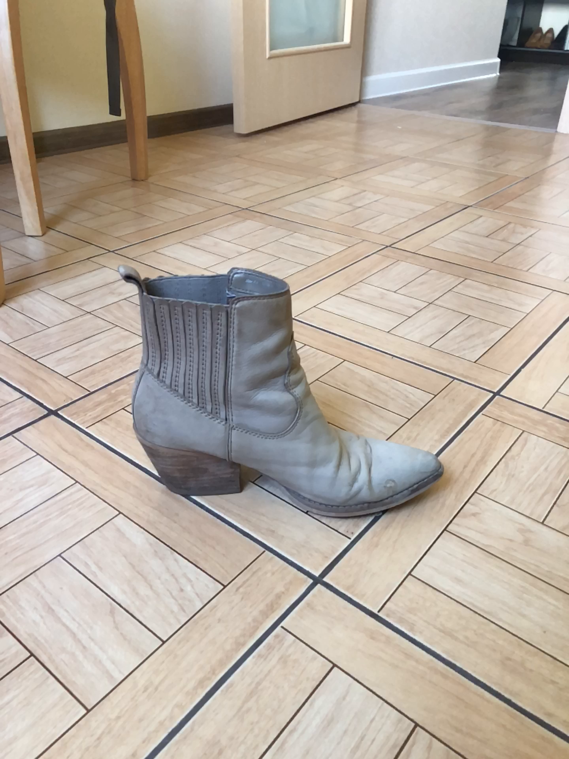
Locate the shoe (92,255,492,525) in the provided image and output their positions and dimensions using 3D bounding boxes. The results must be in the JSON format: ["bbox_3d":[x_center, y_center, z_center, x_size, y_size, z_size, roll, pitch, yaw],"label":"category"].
[{"bbox_3d":[0.003,0.009,0.493,0.260,0.179,0.090,2,31,1],"label":"shoe"}]
